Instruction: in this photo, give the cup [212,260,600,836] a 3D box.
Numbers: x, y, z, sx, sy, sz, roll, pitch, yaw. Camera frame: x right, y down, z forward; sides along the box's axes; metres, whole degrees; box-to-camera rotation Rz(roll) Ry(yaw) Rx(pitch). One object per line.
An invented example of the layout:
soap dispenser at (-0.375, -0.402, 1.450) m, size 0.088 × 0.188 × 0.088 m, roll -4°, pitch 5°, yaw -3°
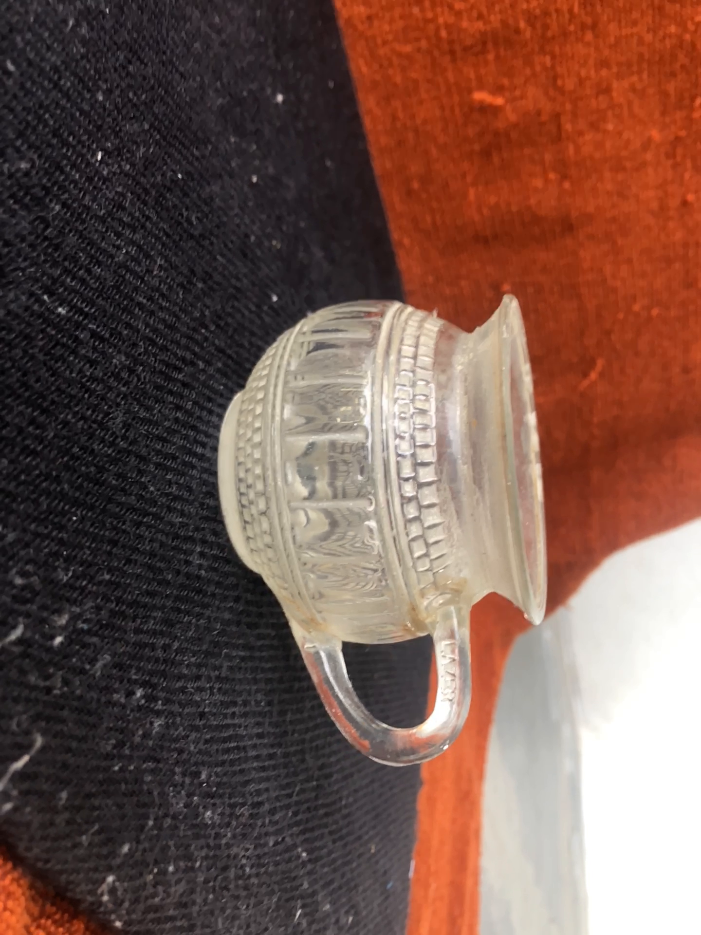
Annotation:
cup at (0.017, 0.016, 0.166) m, size 0.070 × 0.060 × 0.090 m, roll 11°, pitch 75°, yaw -73°
